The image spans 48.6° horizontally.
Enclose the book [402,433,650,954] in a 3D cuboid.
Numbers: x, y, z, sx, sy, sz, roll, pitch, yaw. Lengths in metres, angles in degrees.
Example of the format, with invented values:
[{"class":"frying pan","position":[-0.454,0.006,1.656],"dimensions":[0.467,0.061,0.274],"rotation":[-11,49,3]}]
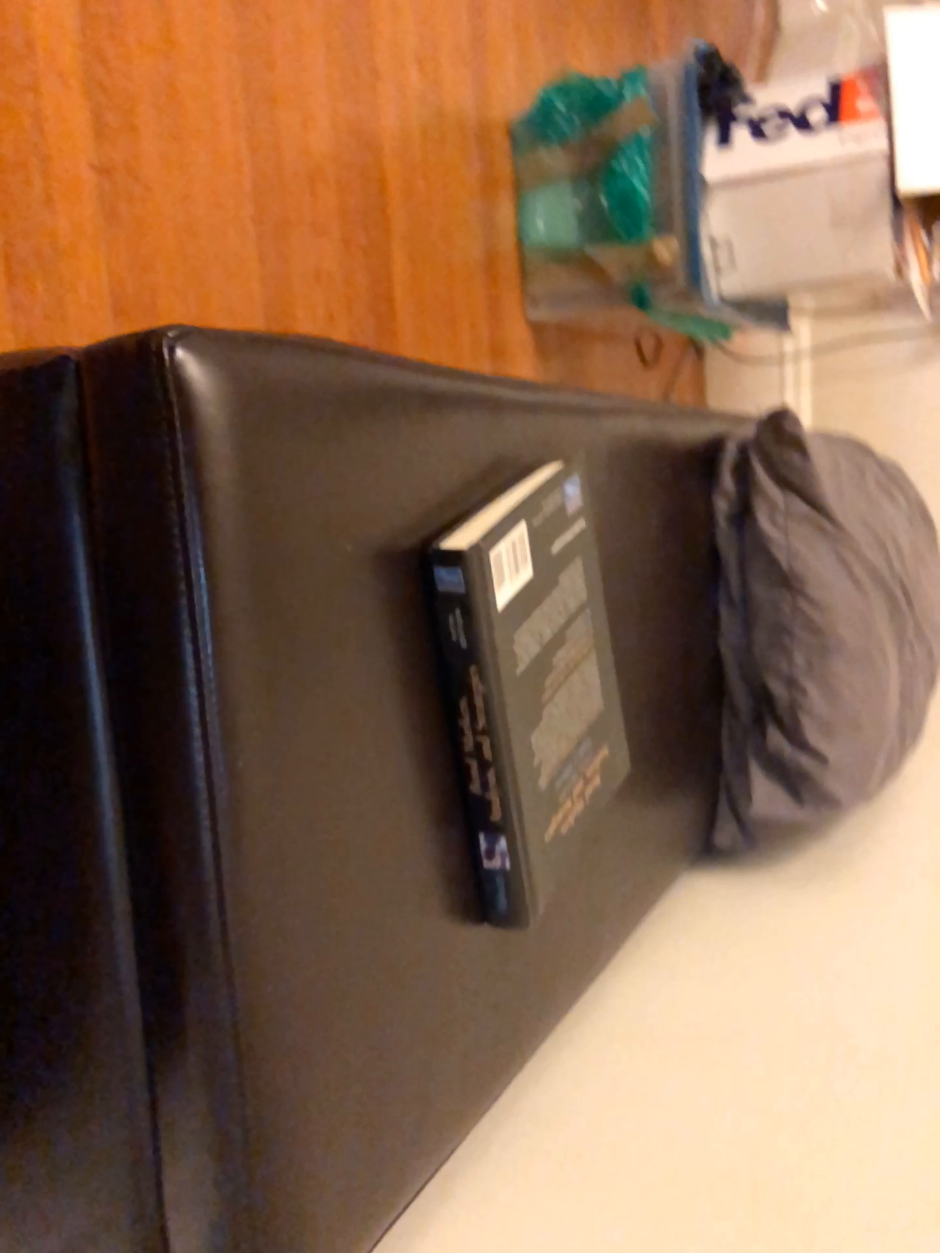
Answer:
[{"class":"book","position":[0.049,0.033,0.654],"dimensions":[0.201,0.040,0.260],"rotation":[-43,127,-54]}]
